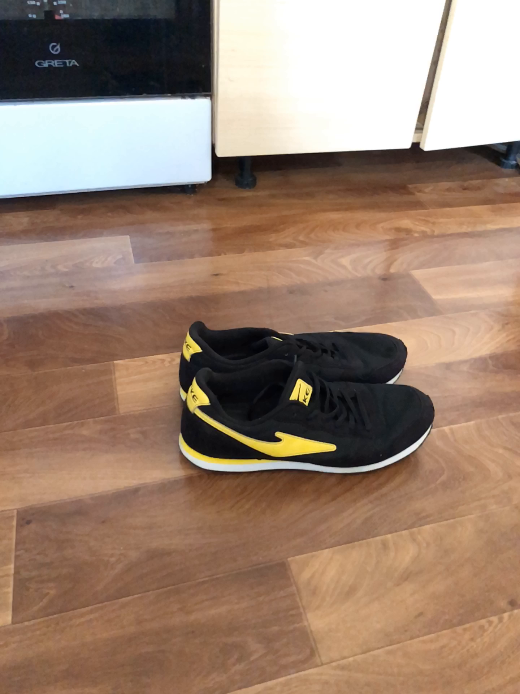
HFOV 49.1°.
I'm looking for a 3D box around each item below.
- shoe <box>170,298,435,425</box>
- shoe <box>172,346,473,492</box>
[{"bbox_3d":[0.045,0.013,0.706,0.300,0.079,0.111,-5,40,-10],"label":"shoe"},{"bbox_3d":[0.059,0.074,0.626,0.300,0.079,0.111,-3,40,-9],"label":"shoe"}]
